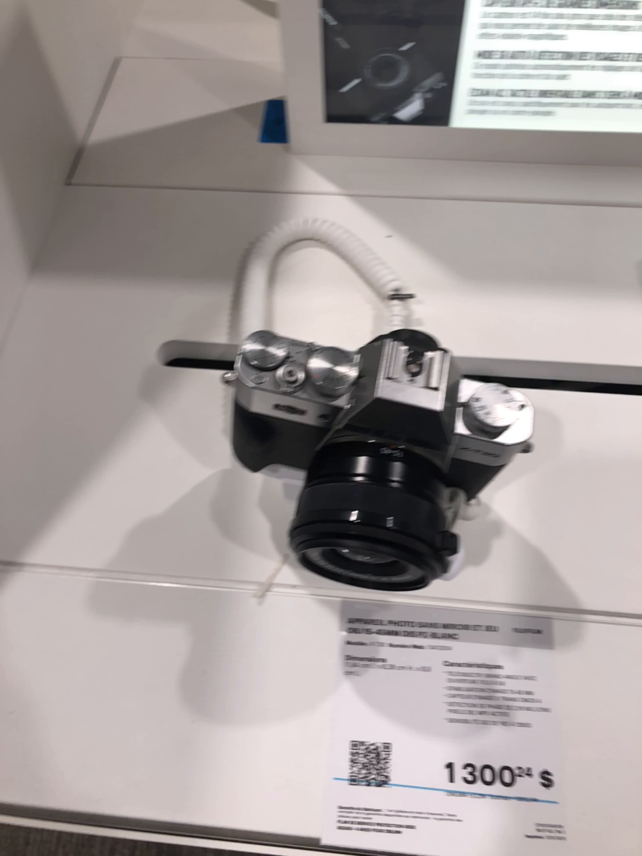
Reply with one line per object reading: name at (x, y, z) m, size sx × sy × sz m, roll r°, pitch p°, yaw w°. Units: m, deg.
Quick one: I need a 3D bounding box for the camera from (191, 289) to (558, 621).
camera at (0.023, 0.015, 0.317) m, size 0.130 × 0.089 × 0.091 m, roll 12°, pitch 60°, yaw 3°
